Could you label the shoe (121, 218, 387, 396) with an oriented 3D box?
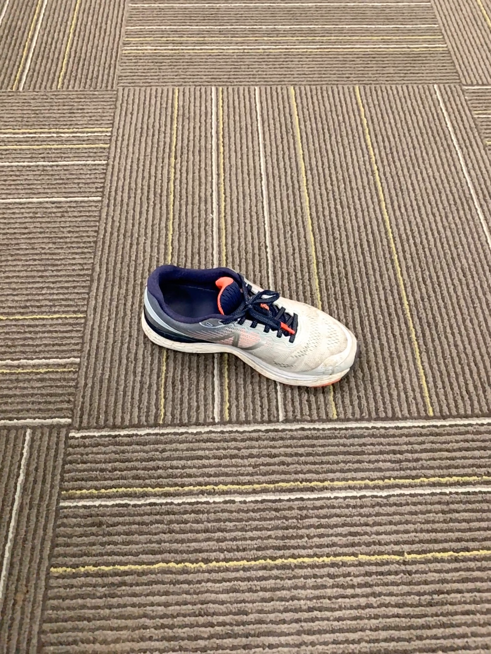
[{"bbox_3d":[0.012,-0.020,0.577,0.260,0.120,0.110,11,61,6],"label":"shoe"}]
